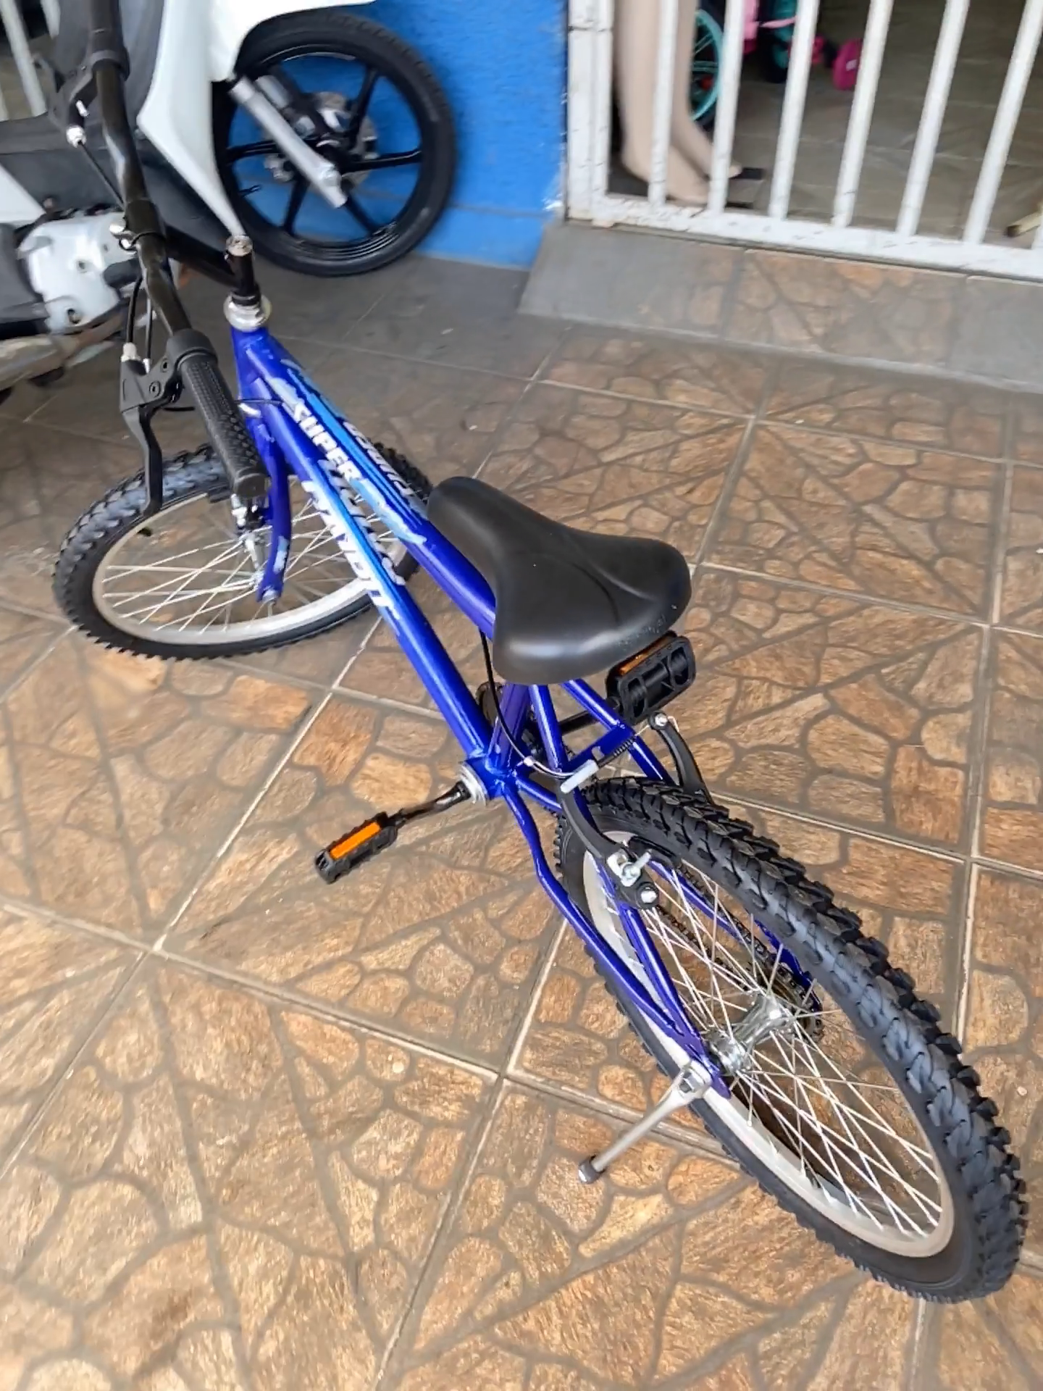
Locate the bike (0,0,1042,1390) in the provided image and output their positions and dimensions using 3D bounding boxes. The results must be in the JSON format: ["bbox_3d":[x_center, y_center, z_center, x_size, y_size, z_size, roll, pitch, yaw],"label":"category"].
[{"bbox_3d":[-0.074,-0.011,0.875,1.184,0.949,0.545,34,54,29],"label":"bike"}]
